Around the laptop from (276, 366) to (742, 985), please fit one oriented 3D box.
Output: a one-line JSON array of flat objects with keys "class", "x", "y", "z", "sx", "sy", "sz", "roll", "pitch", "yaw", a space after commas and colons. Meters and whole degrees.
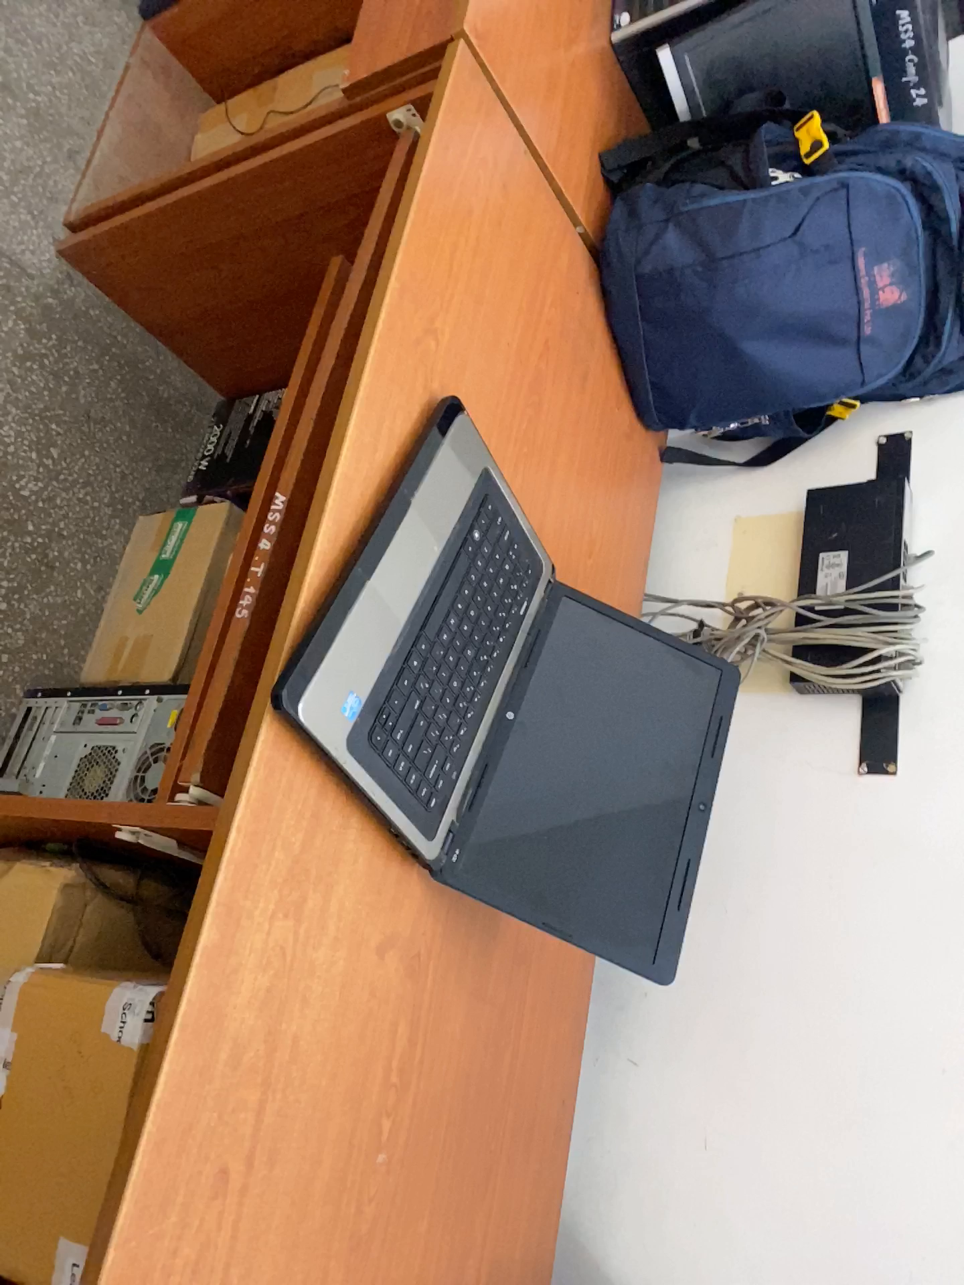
[{"class": "laptop", "x": 0.073, "y": 0.040, "z": 0.930, "sx": 0.427, "sy": 0.158, "sz": 0.383, "roll": 56, "pitch": 44, "yaw": -37}]
